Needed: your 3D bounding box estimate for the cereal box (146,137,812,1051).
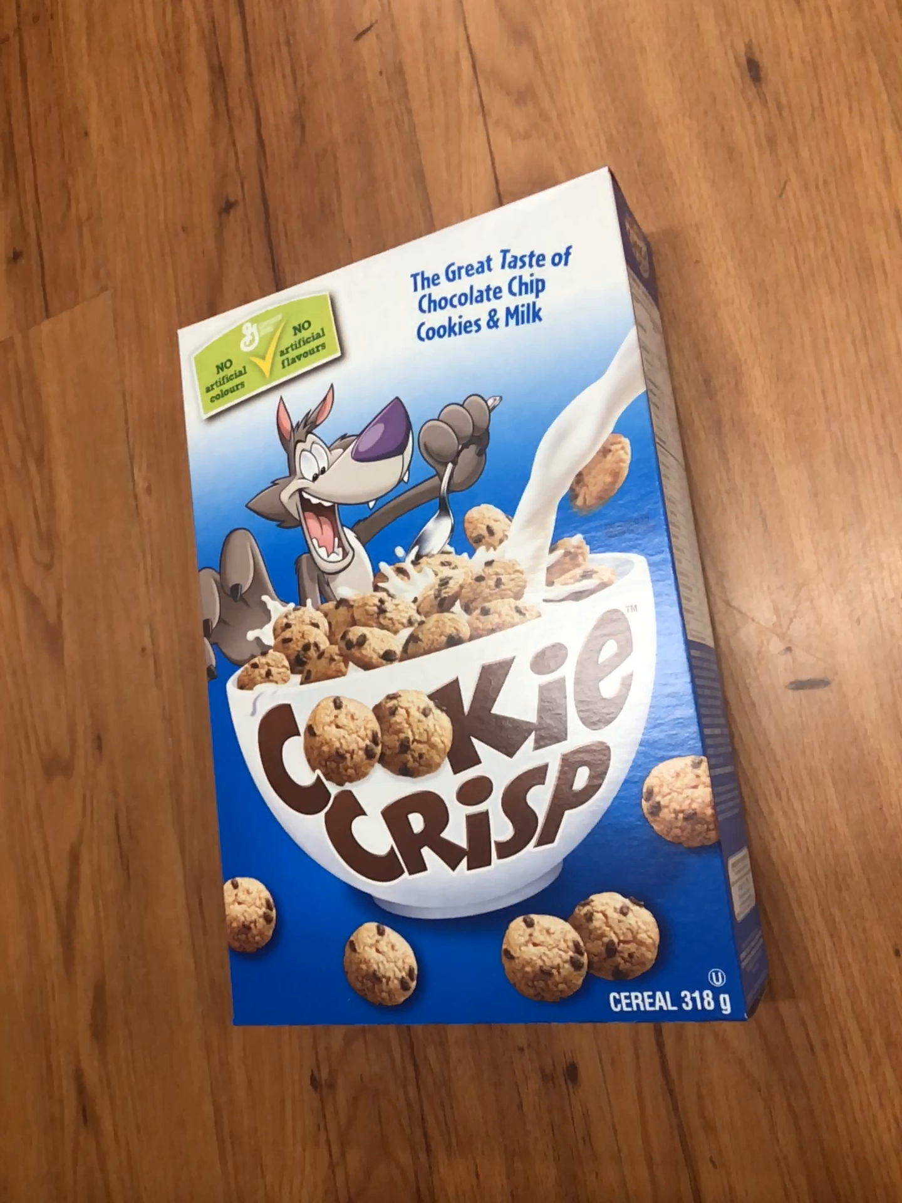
[{"bbox_3d":[-0.002,0.009,0.367,0.200,0.060,0.280,-12,81,24],"label":"cereal box"}]
